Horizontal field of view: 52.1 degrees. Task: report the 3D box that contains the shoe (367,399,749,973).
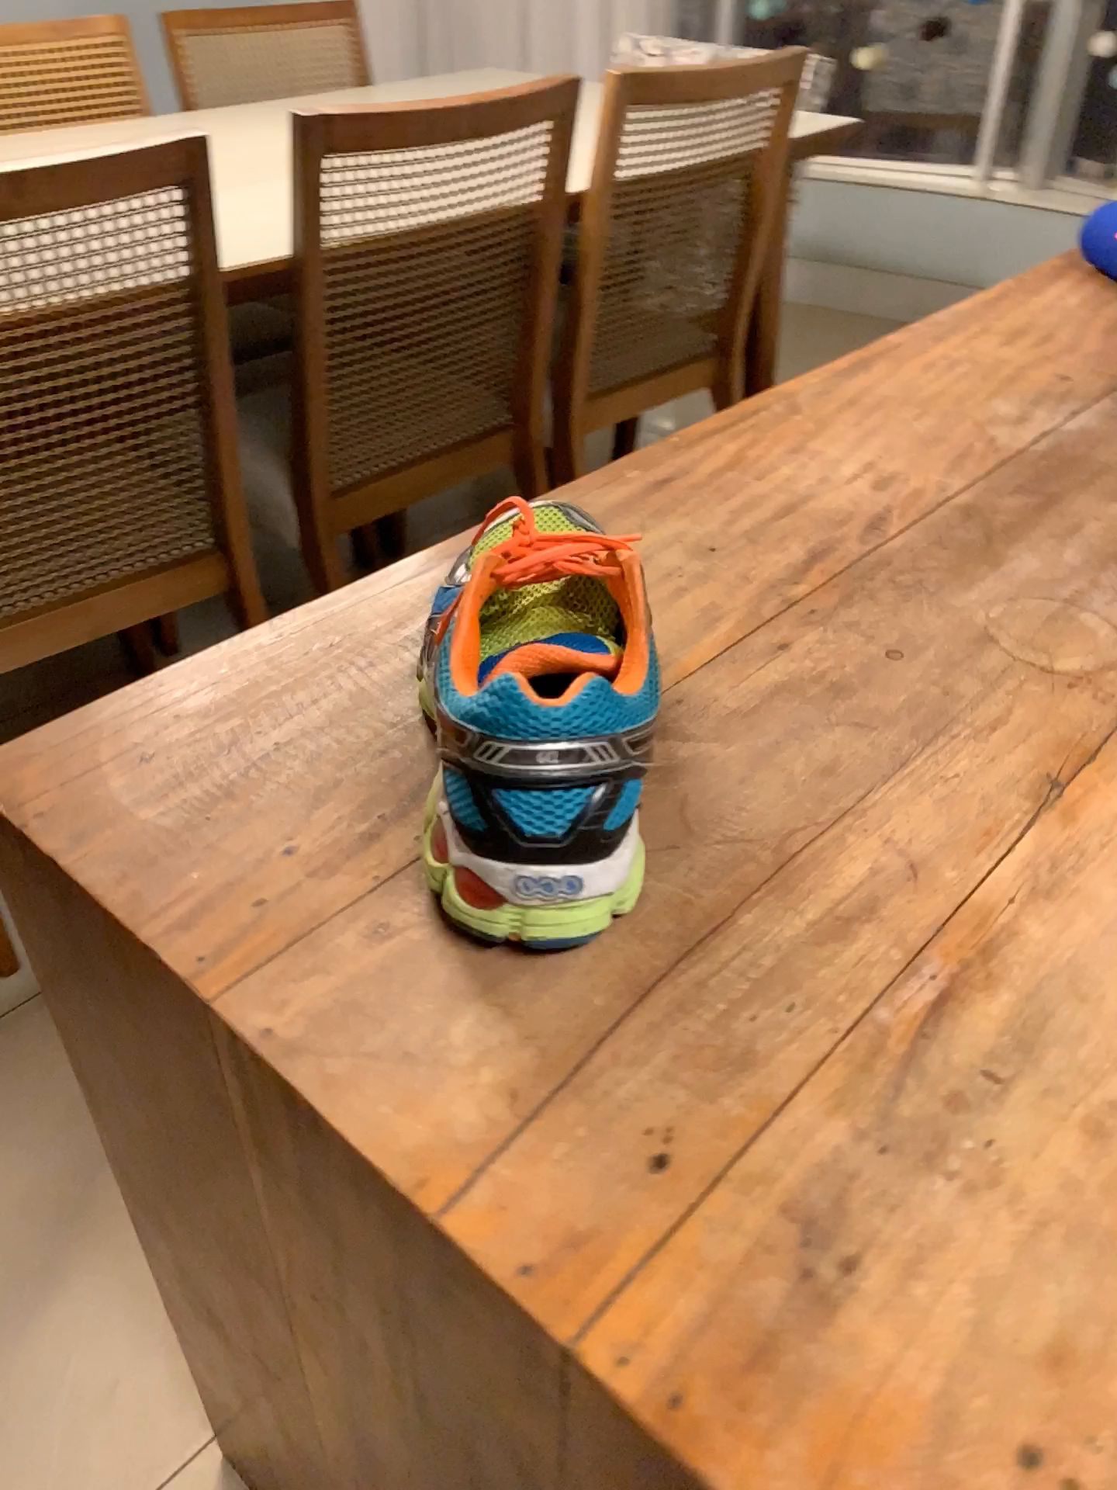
[{"bbox_3d":[-0.011,-0.050,0.527,0.125,0.109,0.302,-2,37,-3],"label":"shoe"}]
